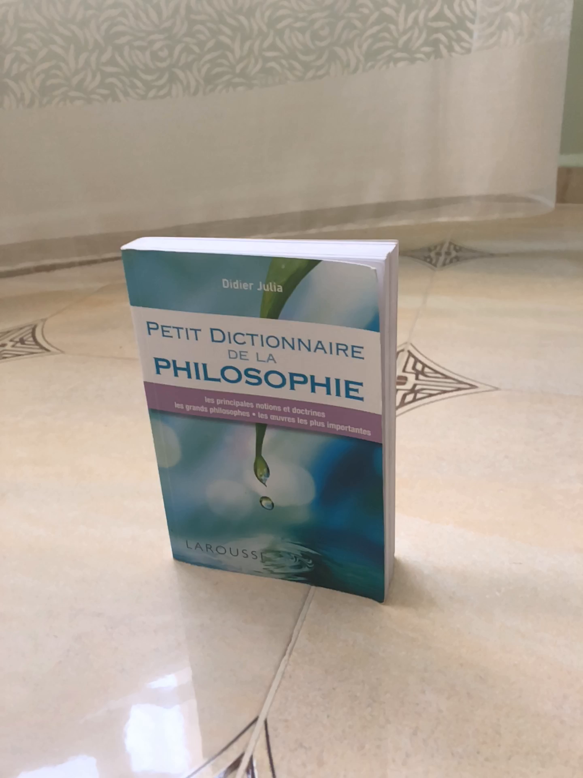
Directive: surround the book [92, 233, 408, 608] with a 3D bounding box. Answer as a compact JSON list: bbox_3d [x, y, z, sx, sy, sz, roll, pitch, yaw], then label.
[{"bbox_3d":[-0.014,0.018,0.332,0.140,0.185,0.035,6,29,19],"label":"book"}]
